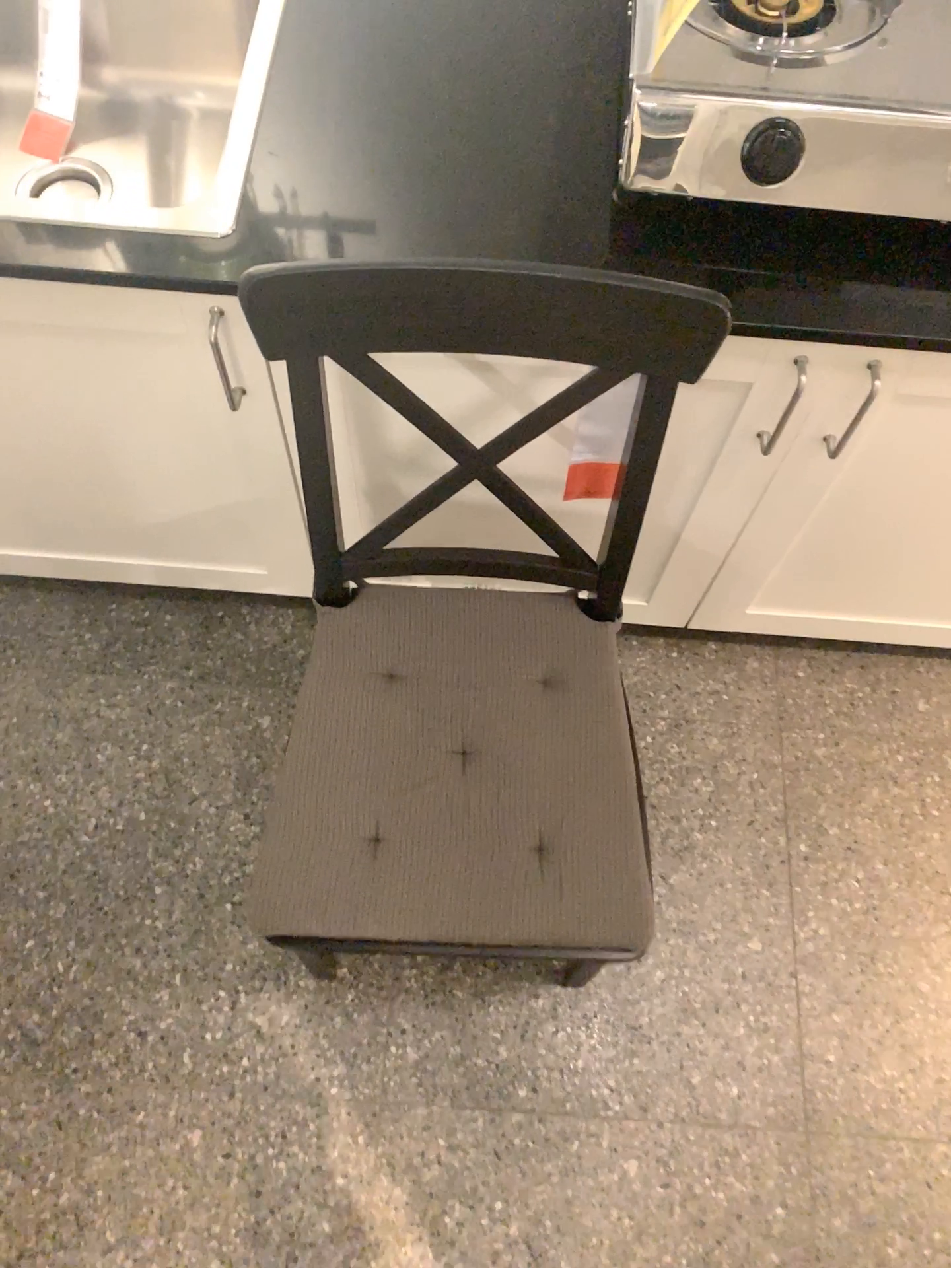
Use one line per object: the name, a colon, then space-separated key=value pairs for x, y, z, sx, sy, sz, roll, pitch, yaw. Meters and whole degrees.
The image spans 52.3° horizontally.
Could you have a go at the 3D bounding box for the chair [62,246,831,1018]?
chair: x=-0.024 y=0.103 z=0.990 sx=0.420 sy=0.789 sz=0.491 roll=2 pitch=66 yaw=-2
